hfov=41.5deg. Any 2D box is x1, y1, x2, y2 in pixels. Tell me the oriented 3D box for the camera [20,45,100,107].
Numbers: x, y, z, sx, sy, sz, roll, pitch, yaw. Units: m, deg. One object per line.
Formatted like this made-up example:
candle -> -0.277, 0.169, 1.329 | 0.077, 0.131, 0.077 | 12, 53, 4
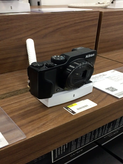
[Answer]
camera -> 0.001, -0.014, 0.279 | 0.123, 0.073, 0.038 | -23, 45, -33
